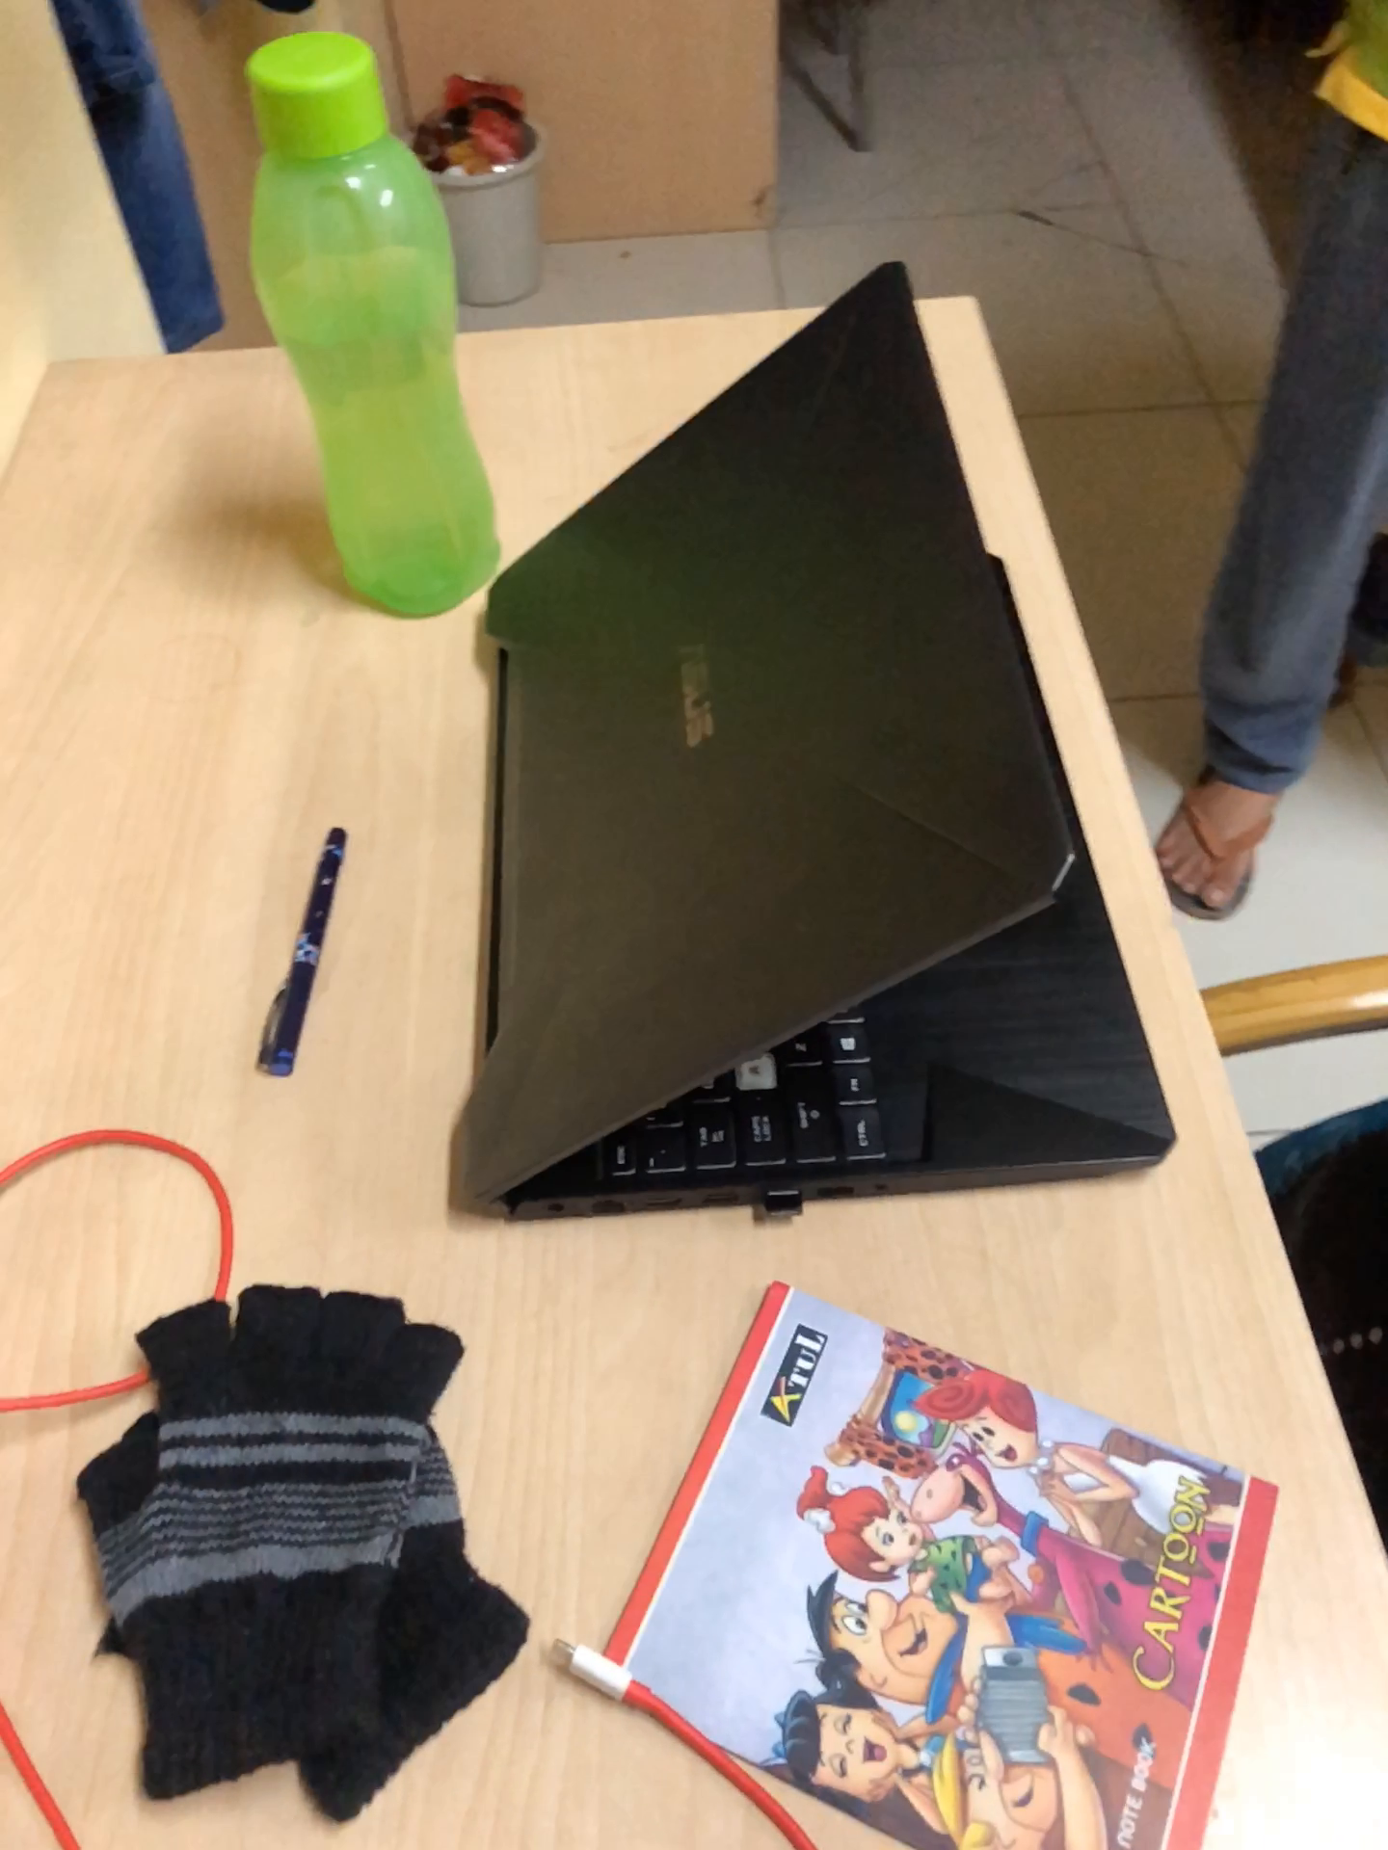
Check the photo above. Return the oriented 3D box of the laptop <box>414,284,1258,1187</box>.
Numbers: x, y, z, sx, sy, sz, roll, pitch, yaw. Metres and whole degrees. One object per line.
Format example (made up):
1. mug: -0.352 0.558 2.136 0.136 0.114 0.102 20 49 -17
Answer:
1. laptop: 0.036 -0.092 0.606 0.248 0.147 0.340 -3 52 -2
